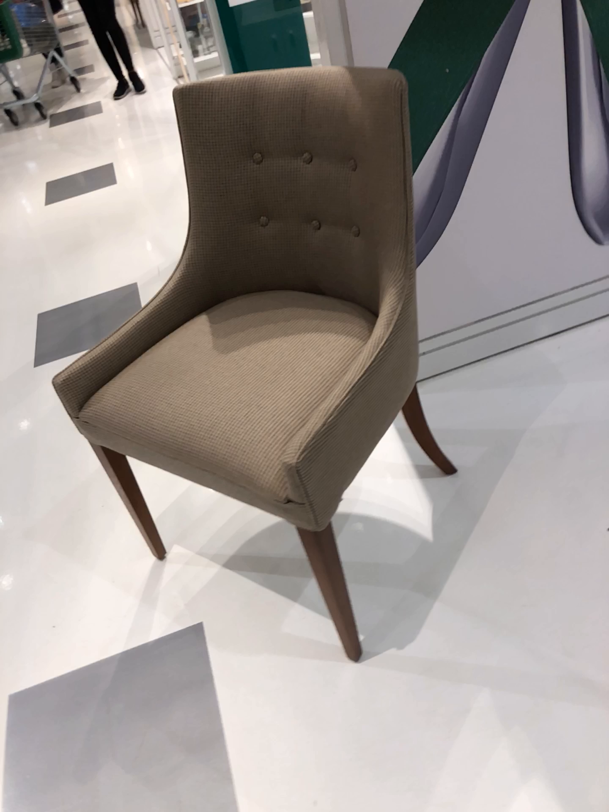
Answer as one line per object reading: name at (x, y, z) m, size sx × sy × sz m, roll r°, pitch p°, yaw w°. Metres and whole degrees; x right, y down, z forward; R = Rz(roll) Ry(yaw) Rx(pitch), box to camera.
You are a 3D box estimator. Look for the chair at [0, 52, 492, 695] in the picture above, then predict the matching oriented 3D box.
chair at (-0.090, -0.086, 1.176) m, size 0.592 × 0.794 × 0.593 m, roll 18°, pitch 49°, yaw 35°
